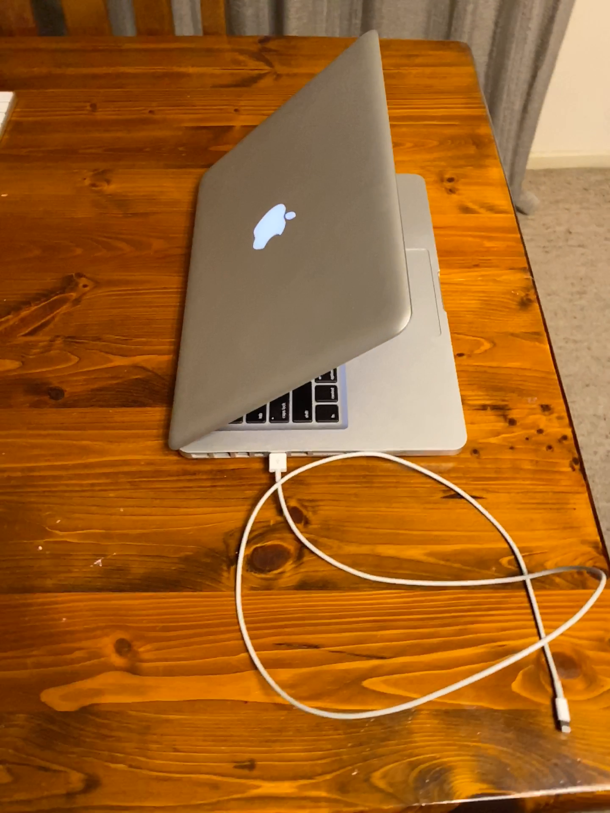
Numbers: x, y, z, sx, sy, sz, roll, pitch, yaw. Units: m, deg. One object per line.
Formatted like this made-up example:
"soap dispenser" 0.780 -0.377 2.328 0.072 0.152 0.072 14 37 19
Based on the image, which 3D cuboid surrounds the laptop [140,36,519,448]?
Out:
"laptop" 0.013 -0.137 0.489 0.211 0.136 0.312 0 58 -1
